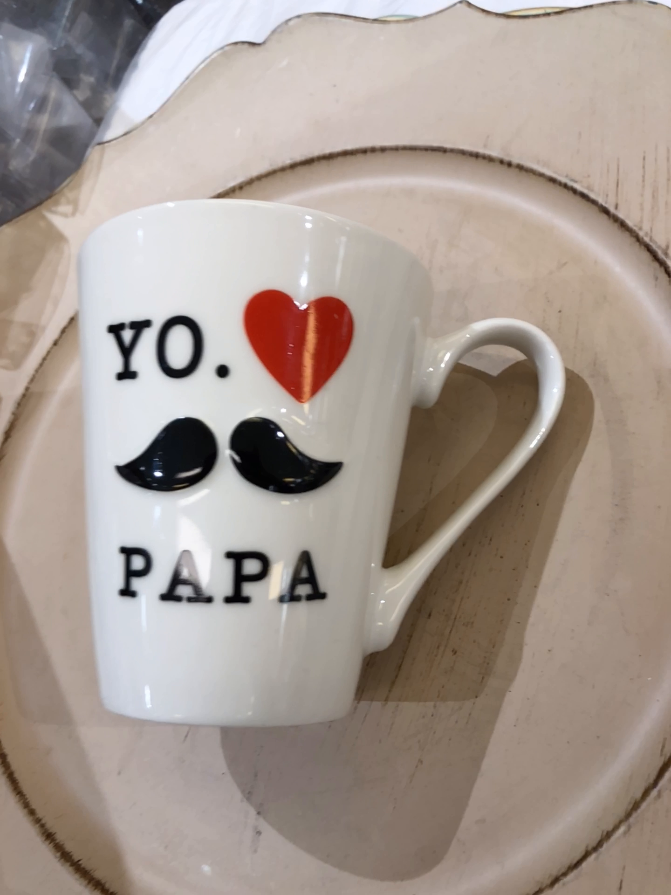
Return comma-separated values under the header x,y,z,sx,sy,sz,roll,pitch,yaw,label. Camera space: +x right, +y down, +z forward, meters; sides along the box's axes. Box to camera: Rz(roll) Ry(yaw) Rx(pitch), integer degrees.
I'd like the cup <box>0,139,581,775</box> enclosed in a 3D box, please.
x,y,z,sx,sy,sz,roll,pitch,yaw,label
-0.008,0.004,0.191,0.110,0.090,0.120,0,81,0,cup
